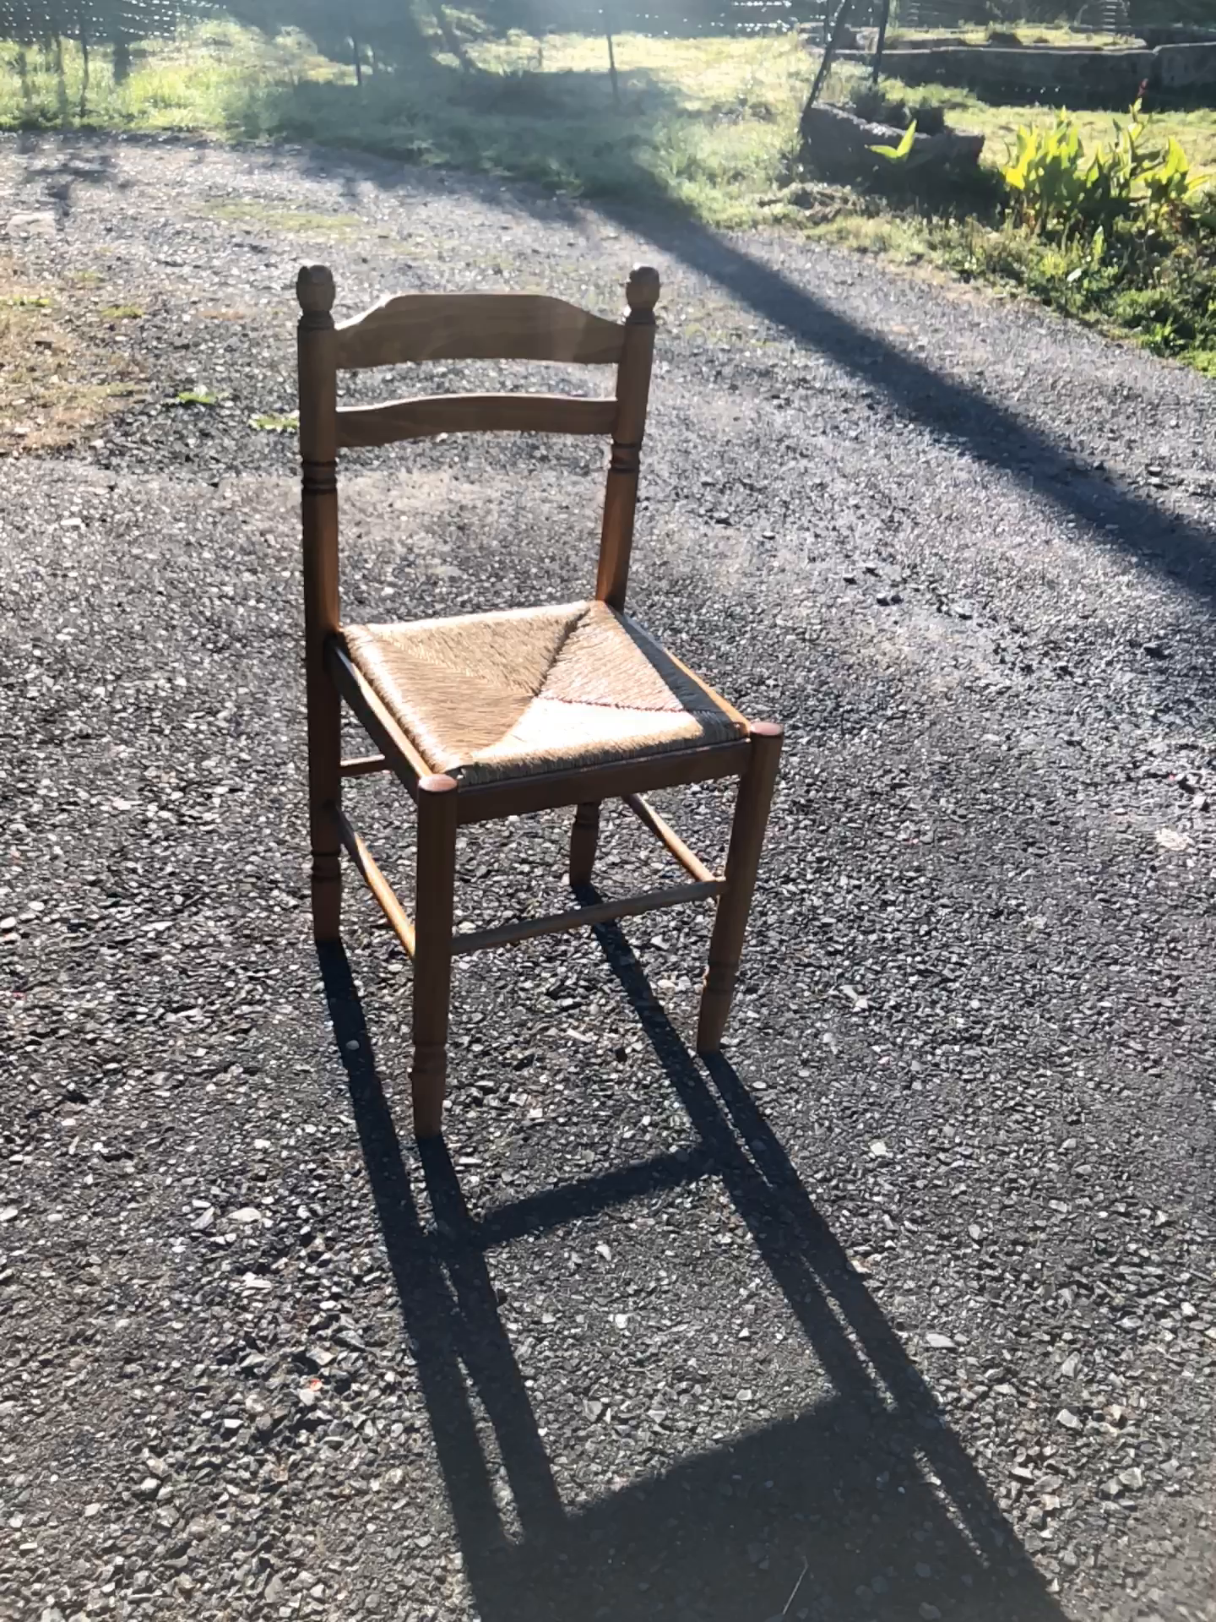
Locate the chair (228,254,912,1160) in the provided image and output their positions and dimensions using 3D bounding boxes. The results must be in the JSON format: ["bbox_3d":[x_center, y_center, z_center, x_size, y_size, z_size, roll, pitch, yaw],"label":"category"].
[{"bbox_3d":[-0.081,-0.145,1.462,0.491,0.795,0.492,-11,33,-24],"label":"chair"}]
